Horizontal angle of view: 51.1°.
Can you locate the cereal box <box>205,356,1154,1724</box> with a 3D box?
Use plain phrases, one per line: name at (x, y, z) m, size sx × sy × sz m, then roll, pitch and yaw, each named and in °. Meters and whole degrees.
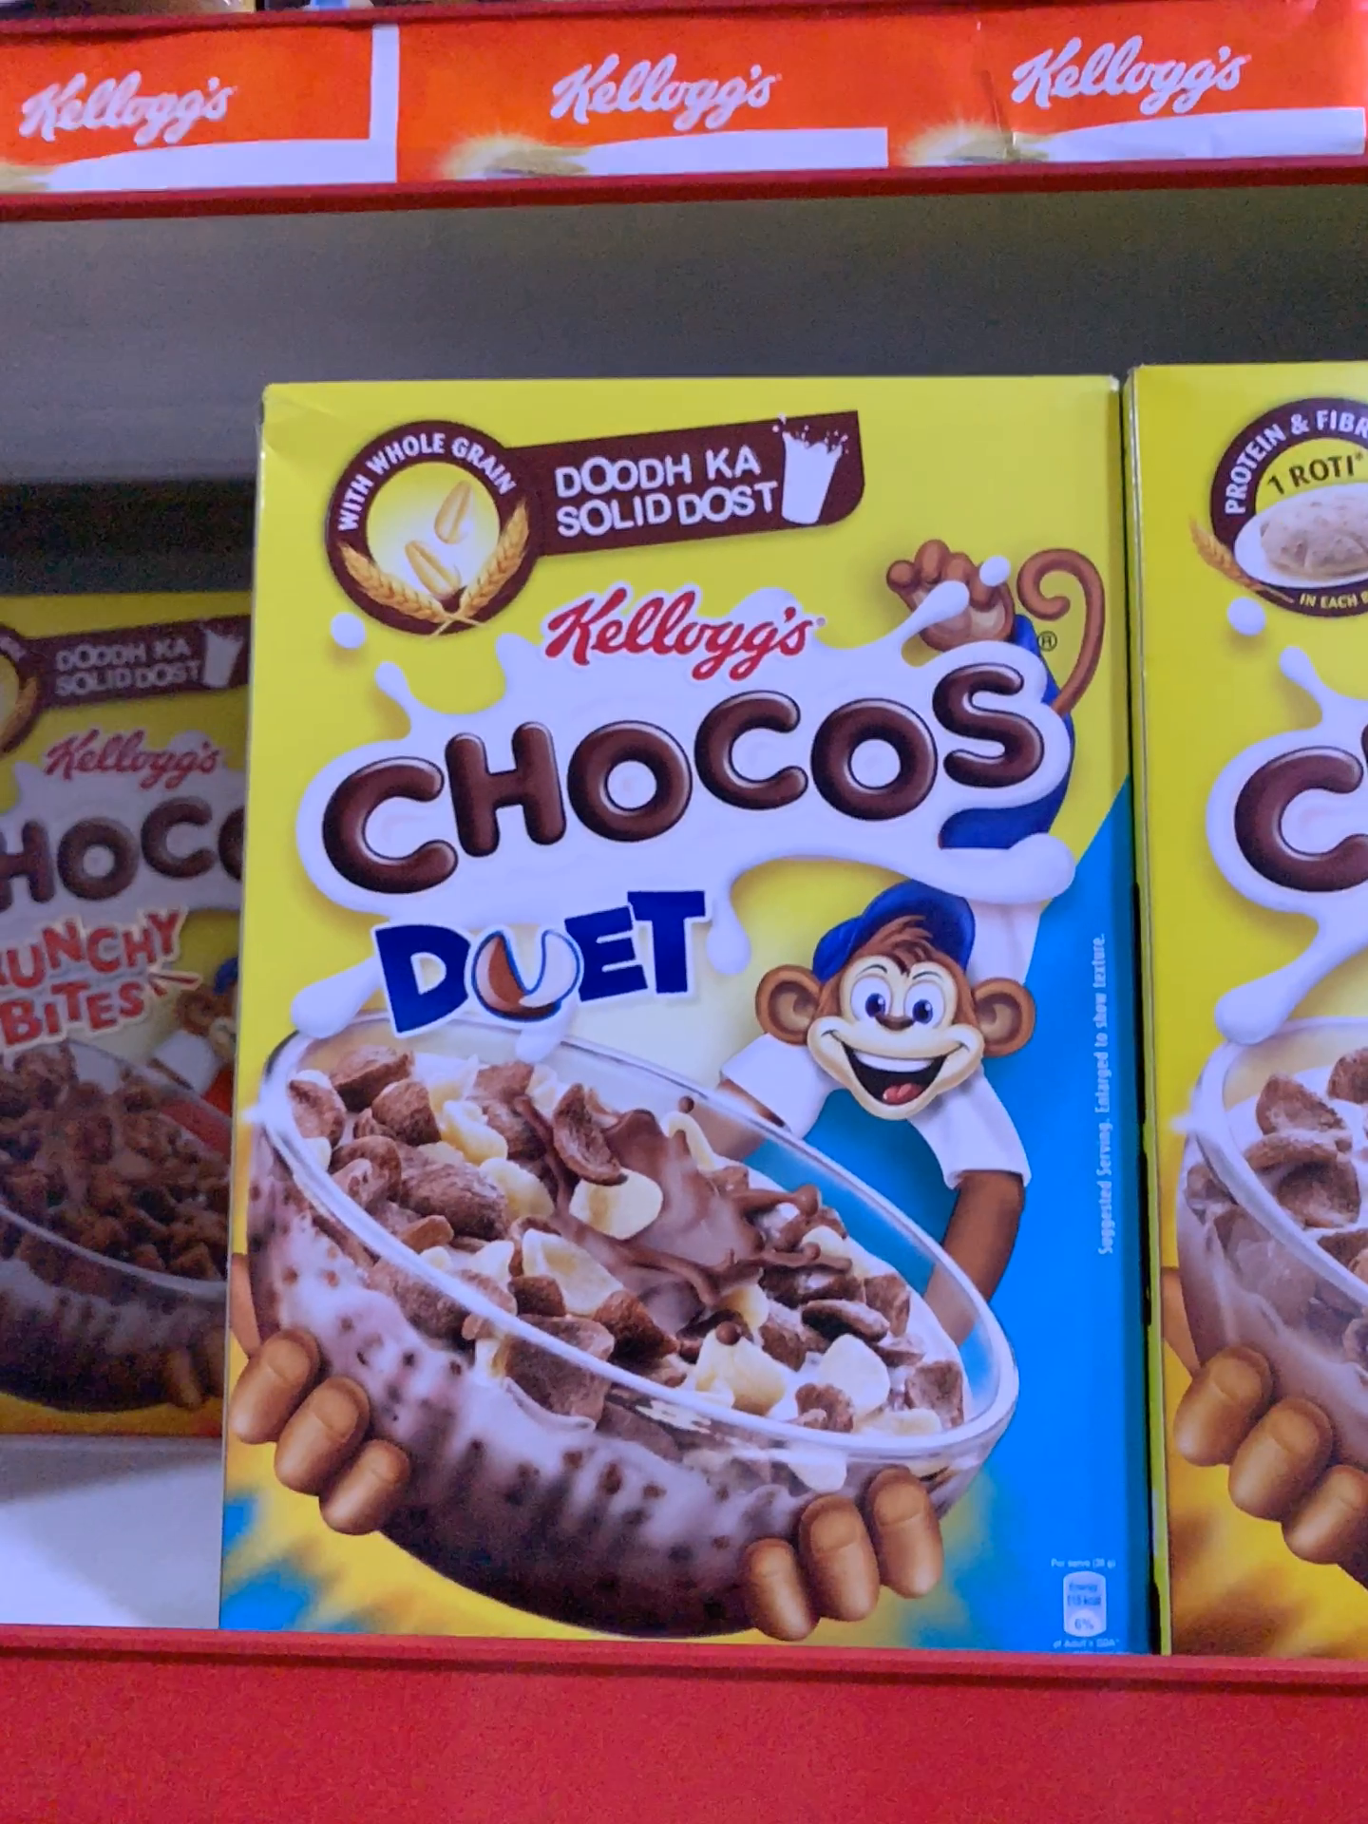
cereal box at (0.000, 0.020, 0.297) m, size 0.170 × 0.250 × 0.060 m, roll 0°, pitch -5°, yaw 3°
